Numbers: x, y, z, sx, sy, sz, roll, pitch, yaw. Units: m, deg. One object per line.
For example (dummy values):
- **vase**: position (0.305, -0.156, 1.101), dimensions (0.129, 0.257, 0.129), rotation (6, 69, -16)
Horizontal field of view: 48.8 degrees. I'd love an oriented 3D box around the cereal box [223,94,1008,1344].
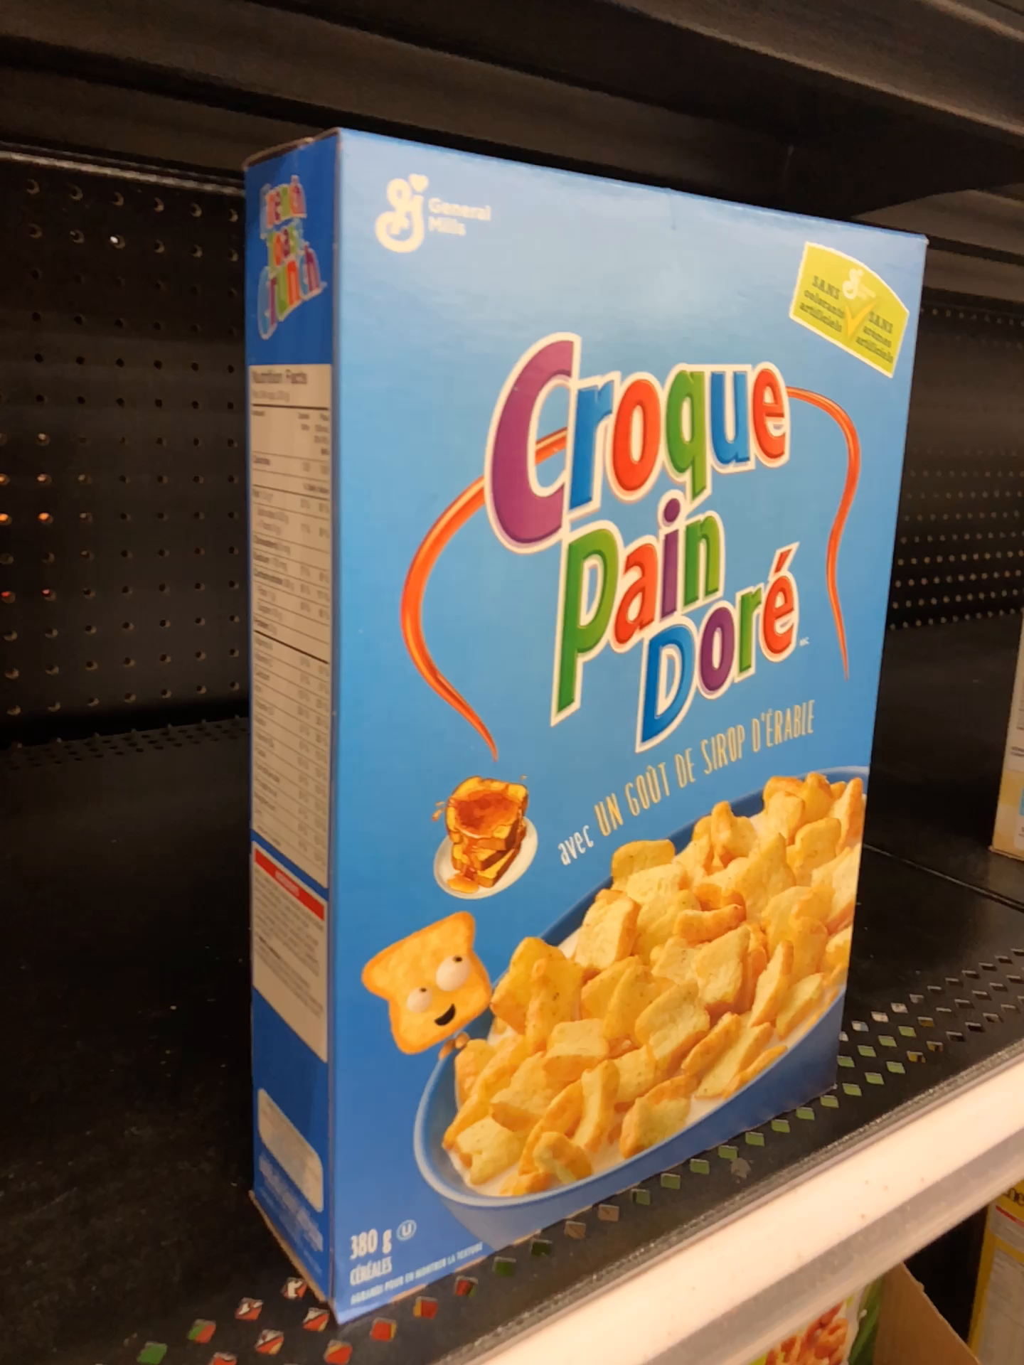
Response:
- **cereal box**: position (0.033, 0.007, 0.318), dimensions (0.210, 0.269, 0.060), rotation (-7, 16, -35)
